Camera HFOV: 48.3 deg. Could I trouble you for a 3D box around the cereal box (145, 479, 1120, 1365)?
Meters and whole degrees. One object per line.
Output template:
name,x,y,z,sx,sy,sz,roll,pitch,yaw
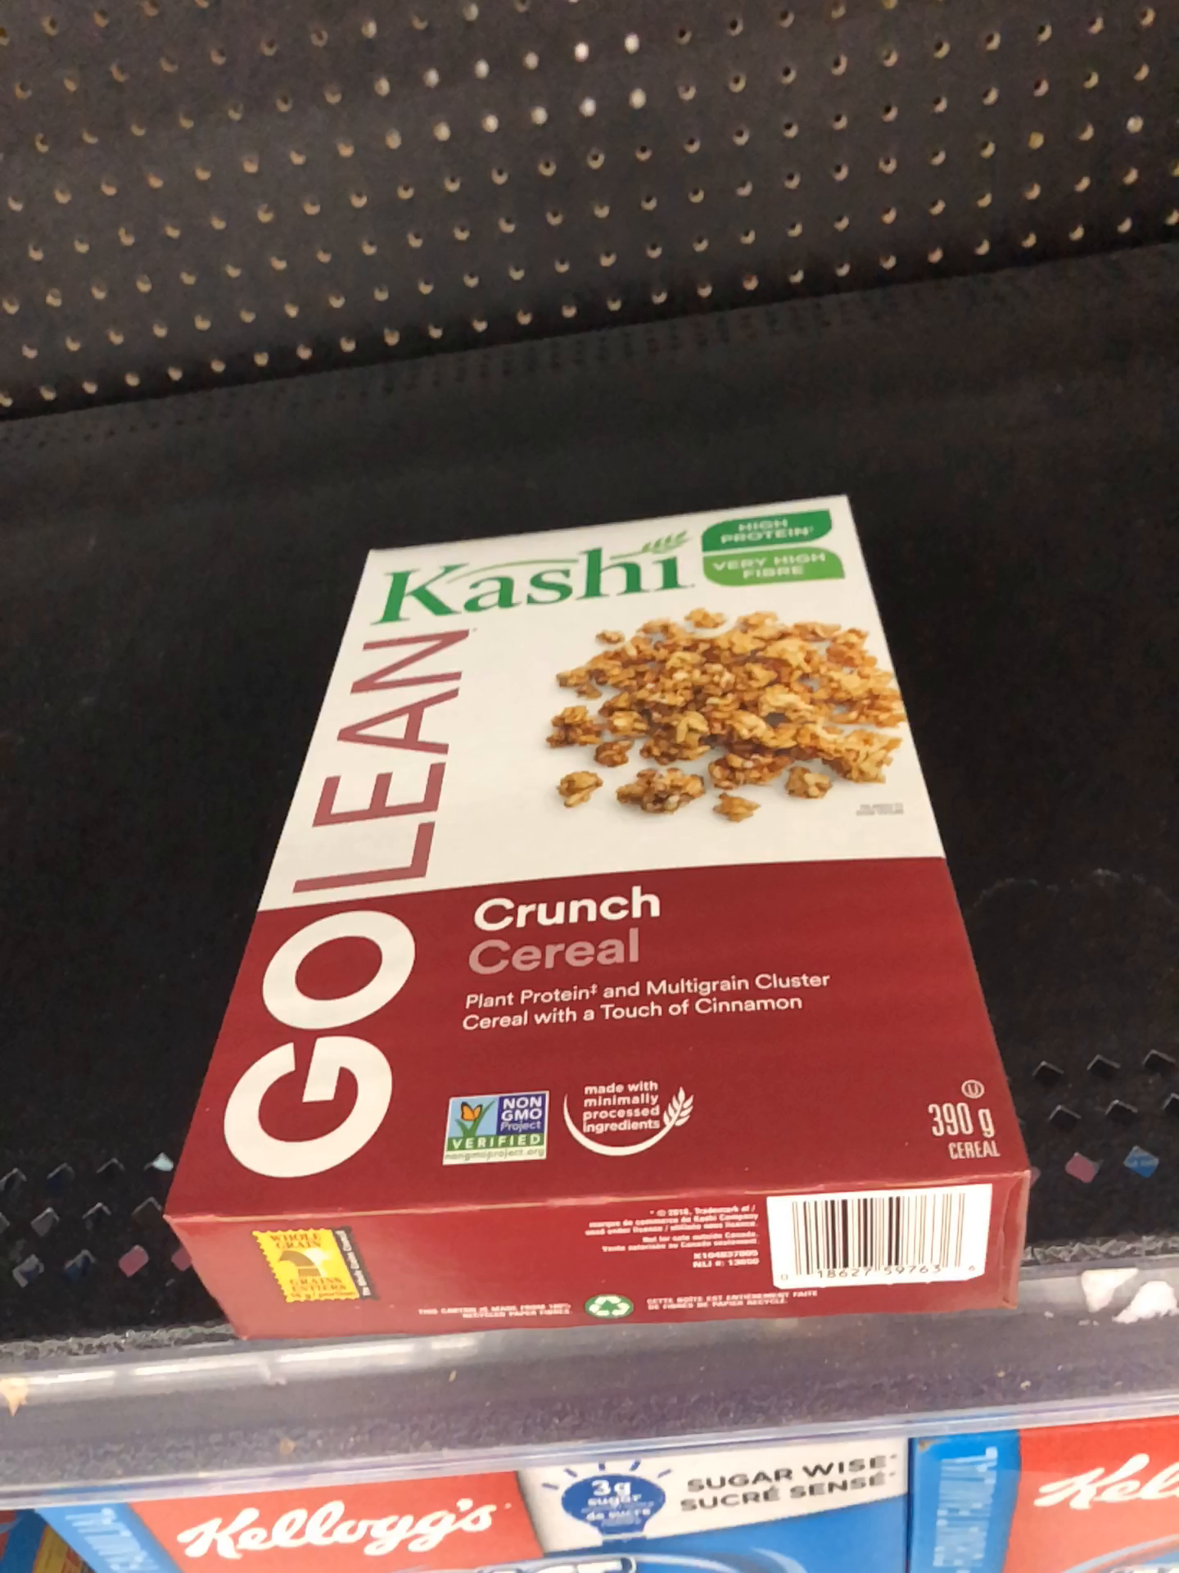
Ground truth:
cereal box,0.010,0.007,0.372,0.180,0.050,0.291,-5,37,5
